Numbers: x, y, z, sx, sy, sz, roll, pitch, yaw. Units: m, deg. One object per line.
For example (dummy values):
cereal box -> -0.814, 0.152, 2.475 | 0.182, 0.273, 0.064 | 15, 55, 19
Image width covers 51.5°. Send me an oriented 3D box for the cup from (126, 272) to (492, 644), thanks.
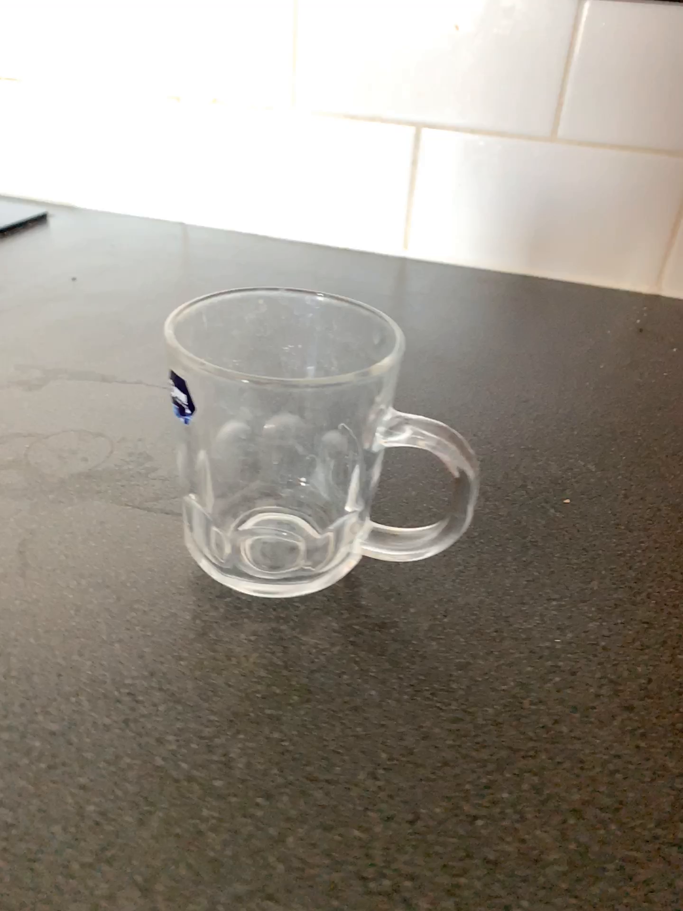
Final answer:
cup -> -0.007, -0.002, 0.243 | 0.100, 0.090, 0.071 | 8, 32, 6
